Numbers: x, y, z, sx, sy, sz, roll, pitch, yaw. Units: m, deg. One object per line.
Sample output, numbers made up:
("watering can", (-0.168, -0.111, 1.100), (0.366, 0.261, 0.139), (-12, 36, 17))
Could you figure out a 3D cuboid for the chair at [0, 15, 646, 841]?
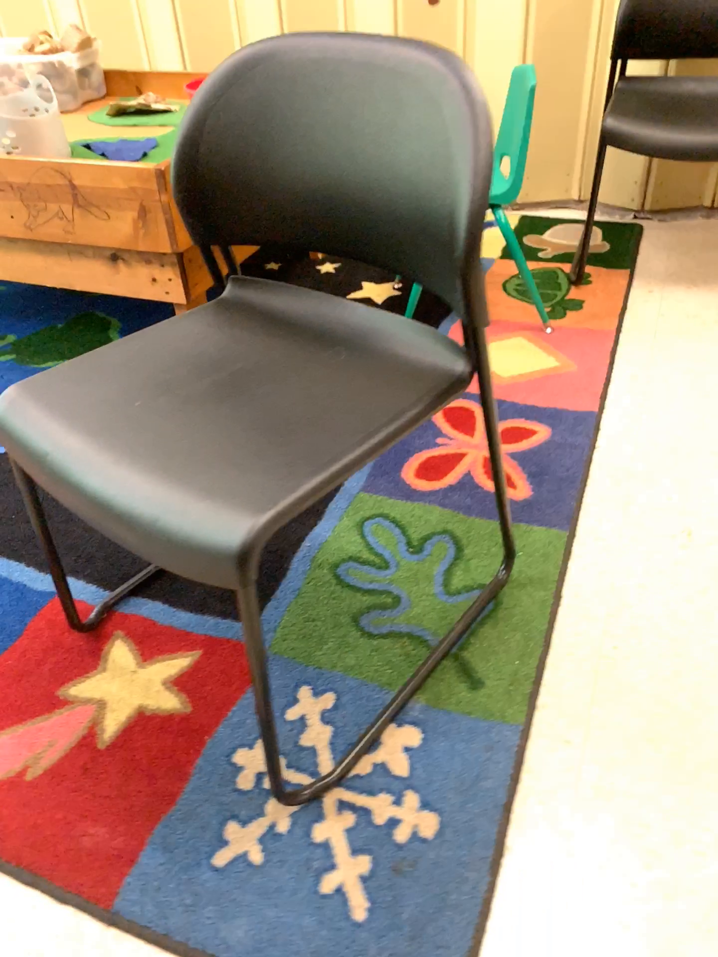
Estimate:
("chair", (-0.096, -0.125, 0.992), (0.592, 0.775, 0.612), (25, 46, 32))
